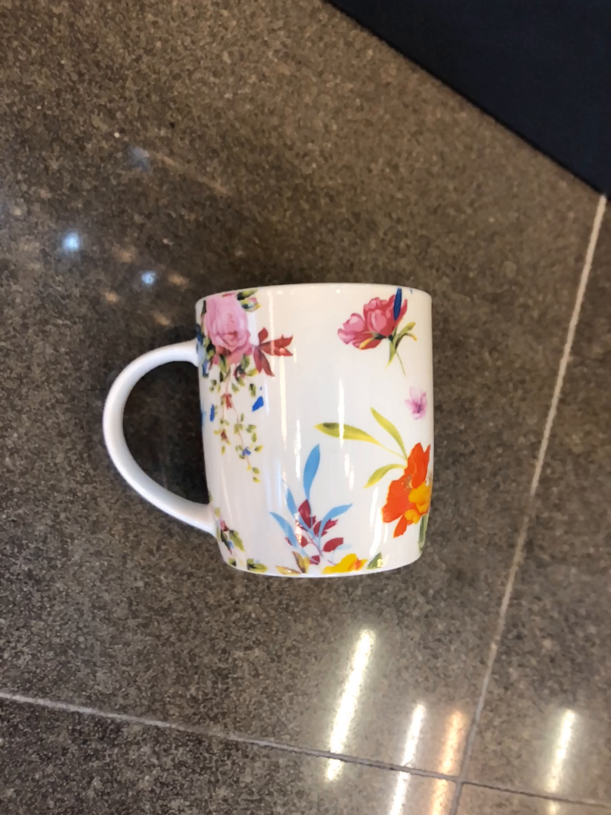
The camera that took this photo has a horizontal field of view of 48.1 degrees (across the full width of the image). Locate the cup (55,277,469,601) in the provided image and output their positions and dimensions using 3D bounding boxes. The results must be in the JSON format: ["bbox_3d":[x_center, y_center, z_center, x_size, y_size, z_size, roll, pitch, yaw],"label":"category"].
[{"bbox_3d":[-0.010,0.012,0.241,0.120,0.080,0.090,-3,89,8],"label":"cup"}]
